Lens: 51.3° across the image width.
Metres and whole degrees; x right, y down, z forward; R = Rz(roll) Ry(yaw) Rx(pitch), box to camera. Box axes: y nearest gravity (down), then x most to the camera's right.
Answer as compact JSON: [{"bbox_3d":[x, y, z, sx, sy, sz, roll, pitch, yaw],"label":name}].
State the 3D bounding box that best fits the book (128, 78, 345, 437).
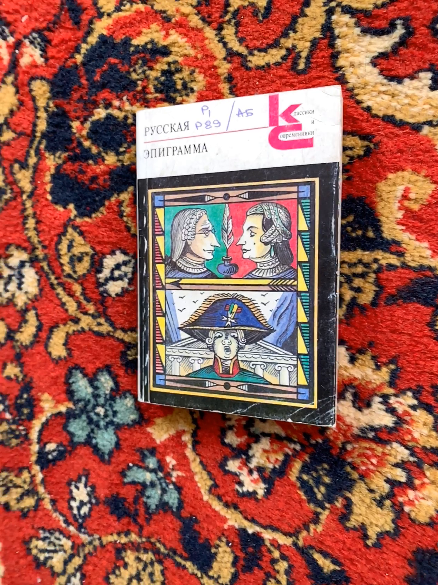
[{"bbox_3d":[0.006,-0.017,0.239,0.110,0.022,0.163,2,93,22],"label":"book"}]
